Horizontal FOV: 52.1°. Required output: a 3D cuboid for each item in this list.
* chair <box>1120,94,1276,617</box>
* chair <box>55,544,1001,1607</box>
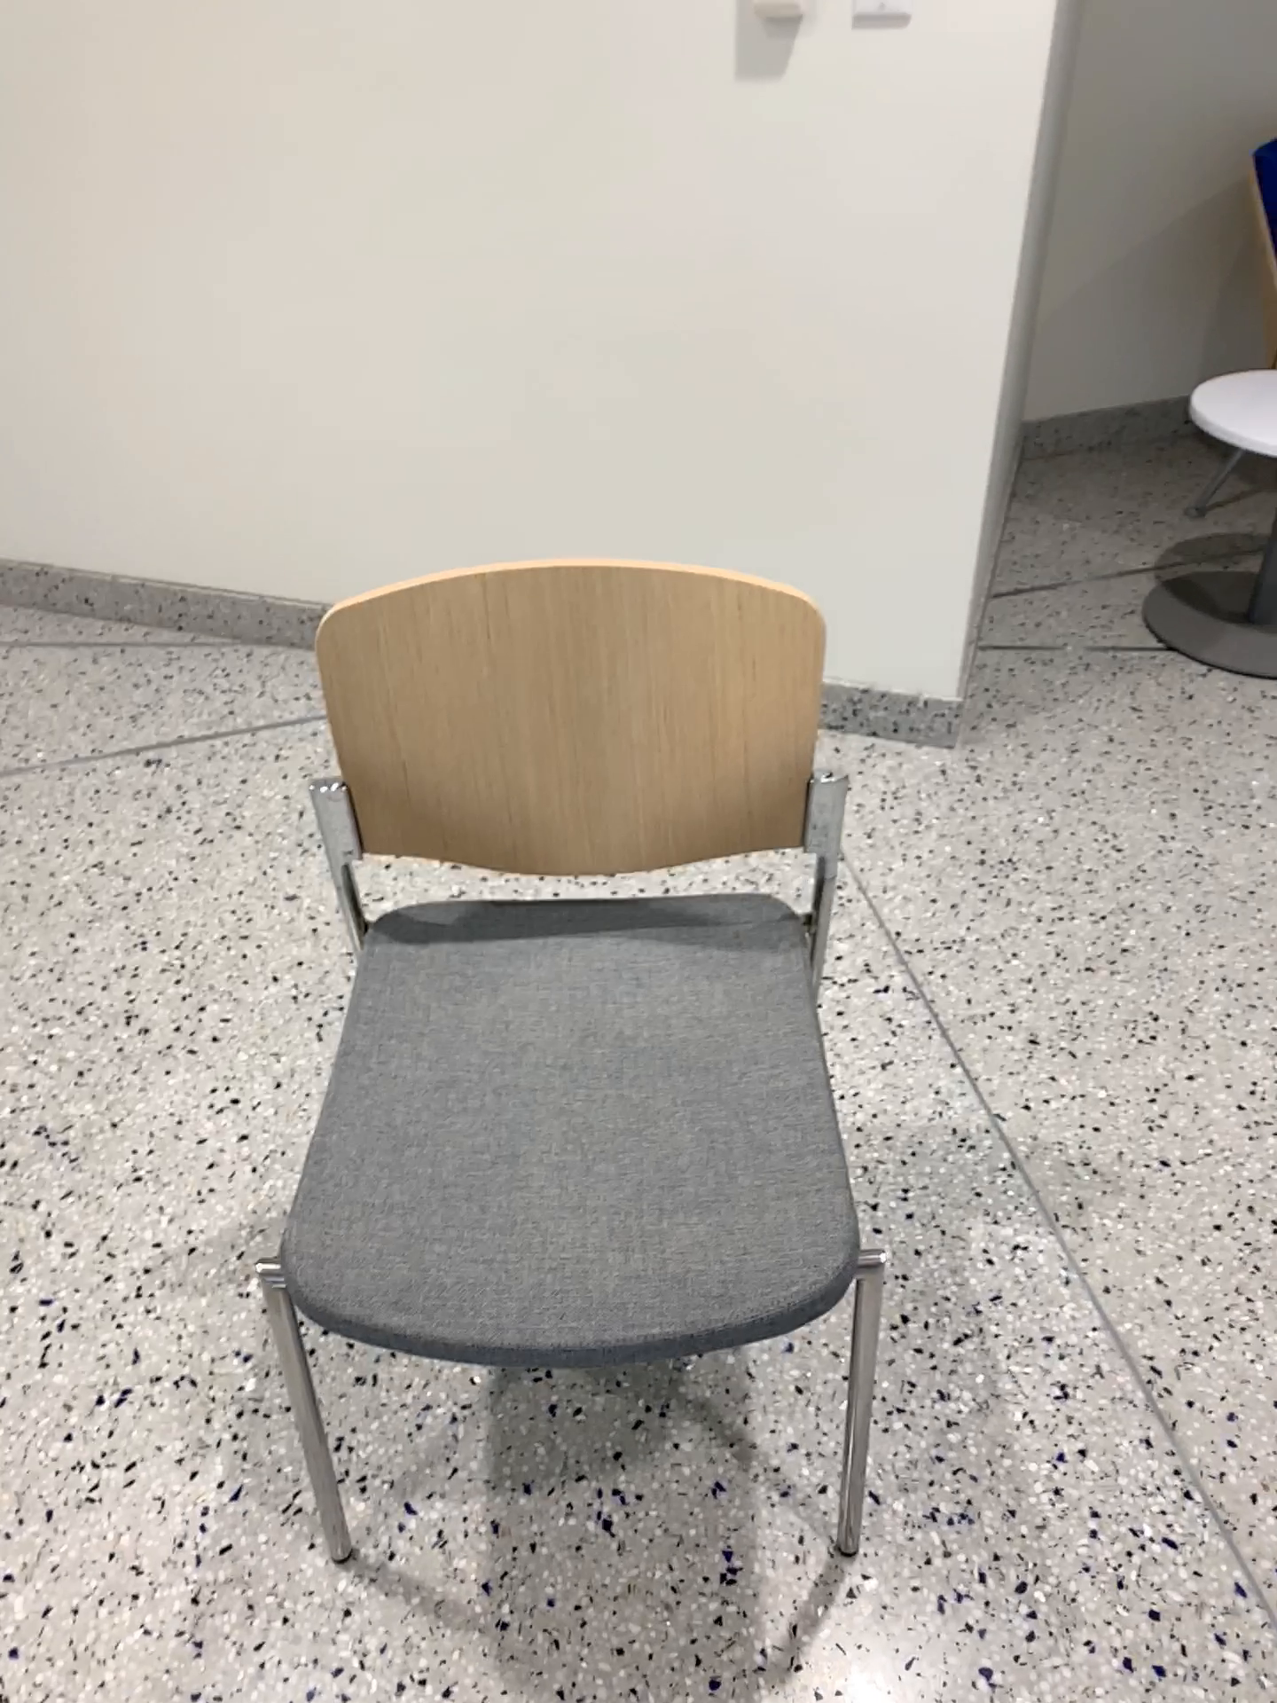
[{"bbox_3d":[1.625,-1.093,2.776,0.764,0.758,0.771,27,46,32],"label":"chair"},{"bbox_3d":[-0.051,0.206,1.209,0.537,0.768,0.597,-1,37,2],"label":"chair"}]
